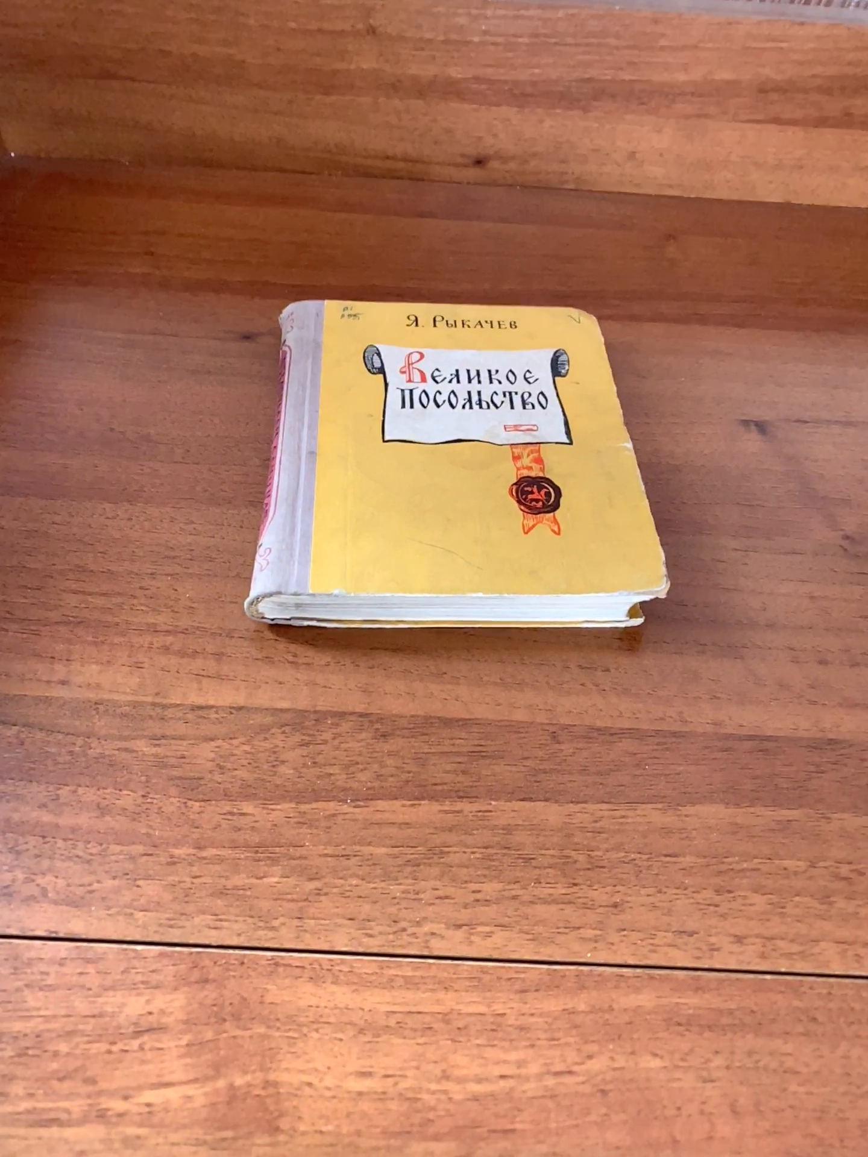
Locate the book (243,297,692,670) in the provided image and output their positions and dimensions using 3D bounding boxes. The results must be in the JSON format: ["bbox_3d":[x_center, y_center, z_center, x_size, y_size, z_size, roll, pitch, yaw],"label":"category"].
[{"bbox_3d":[0.009,-0.044,0.343,0.142,0.023,0.172,1,51,-4],"label":"book"}]
